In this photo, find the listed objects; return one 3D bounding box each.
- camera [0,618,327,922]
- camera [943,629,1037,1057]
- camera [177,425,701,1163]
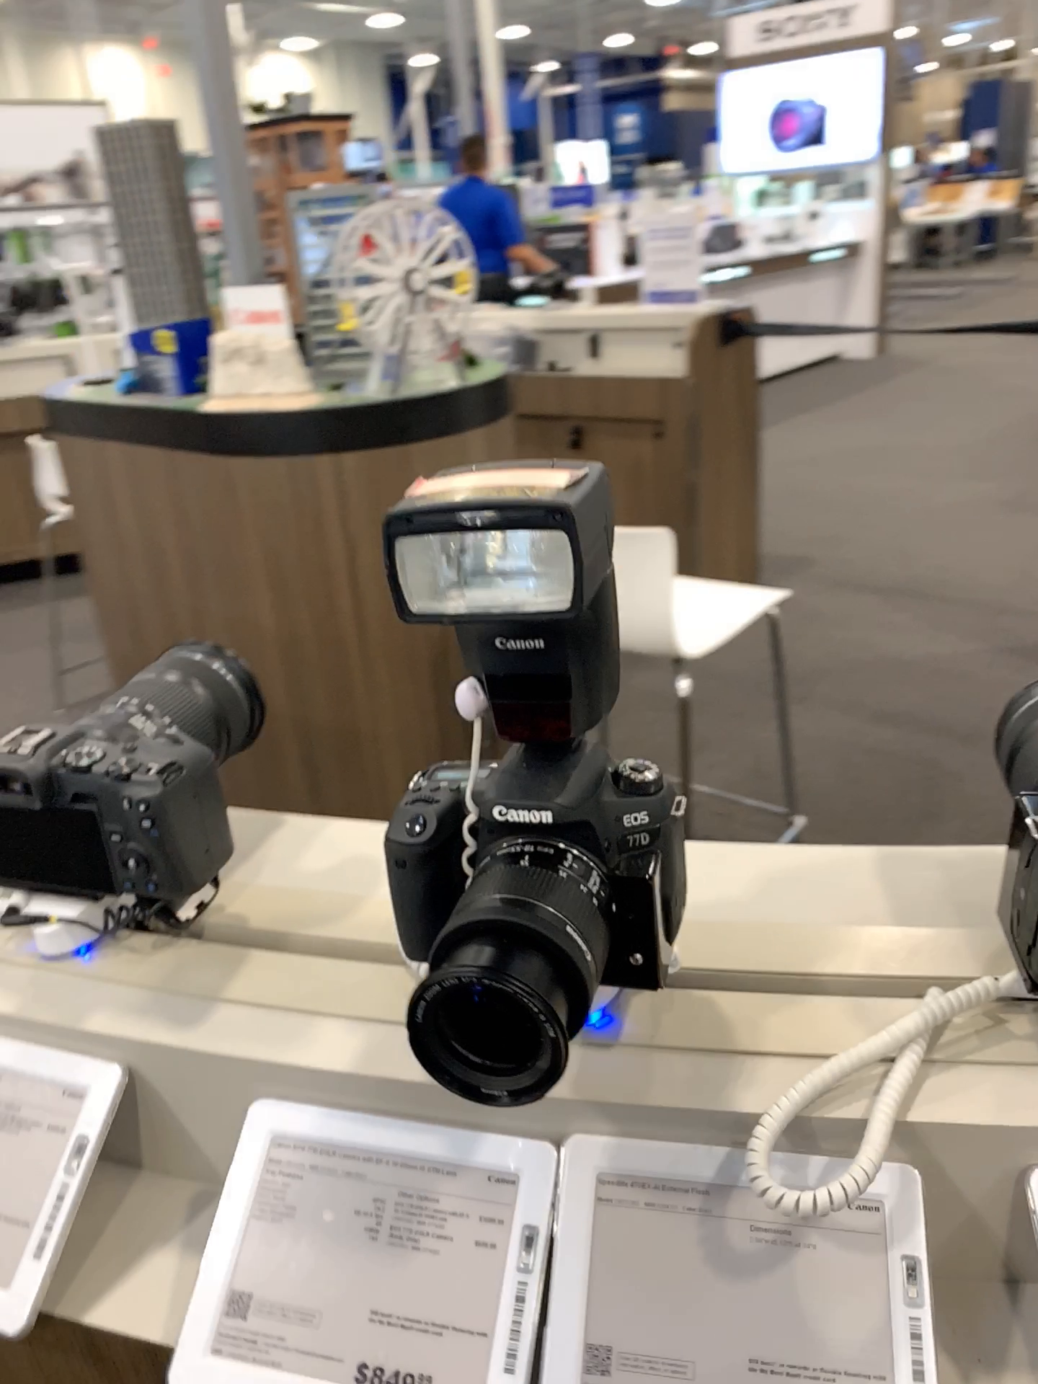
[{"bbox_3d":[-0.221,0.036,0.636,0.140,0.103,0.166,3,26,17],"label":"camera"},{"bbox_3d":[0.274,0.052,0.464,0.140,0.103,0.166,1,25,13],"label":"camera"},{"bbox_3d":[-0.008,0.027,0.443,0.140,0.232,0.177,2,25,16],"label":"camera"}]
